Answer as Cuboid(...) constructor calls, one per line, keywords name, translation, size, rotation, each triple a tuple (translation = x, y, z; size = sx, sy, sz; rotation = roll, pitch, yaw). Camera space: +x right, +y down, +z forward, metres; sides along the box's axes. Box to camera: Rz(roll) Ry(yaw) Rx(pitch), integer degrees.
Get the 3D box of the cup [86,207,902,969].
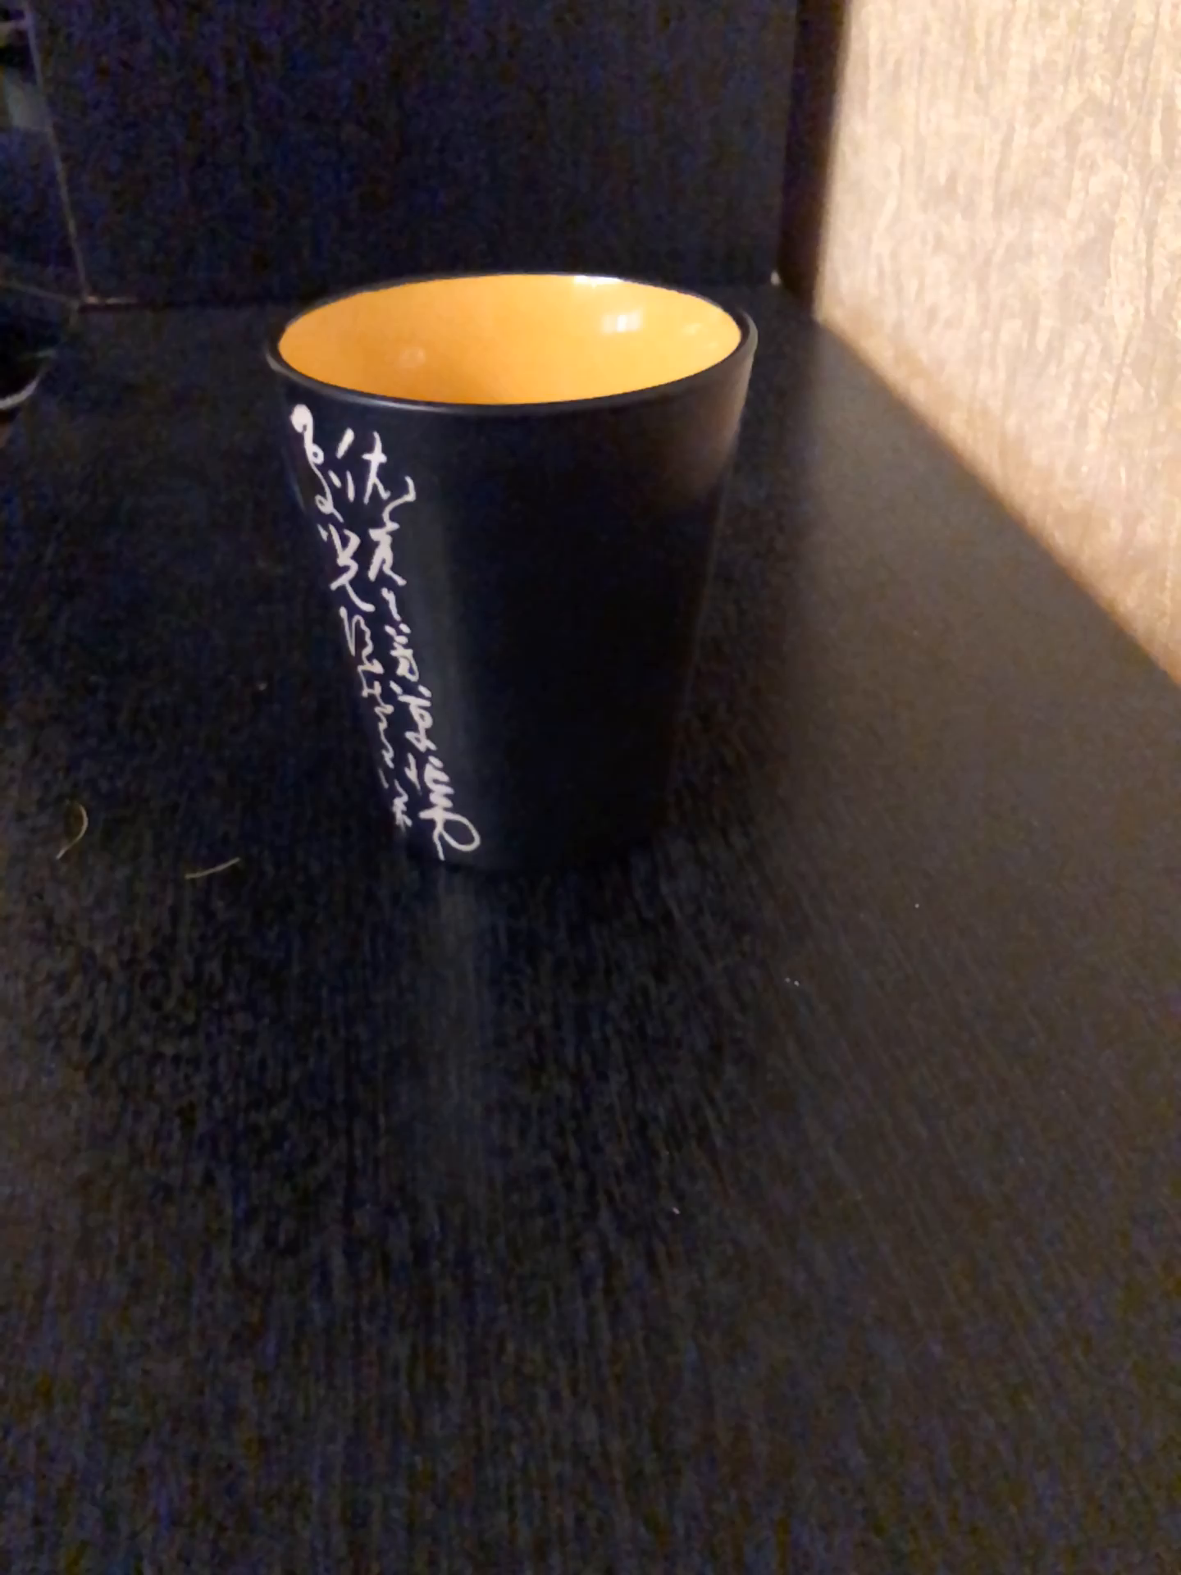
Cuboid(name="cup", translation=(-0.022, -0.052, 0.279), size=(0.130, 0.099, 0.090), rotation=(29, 44, 34))
